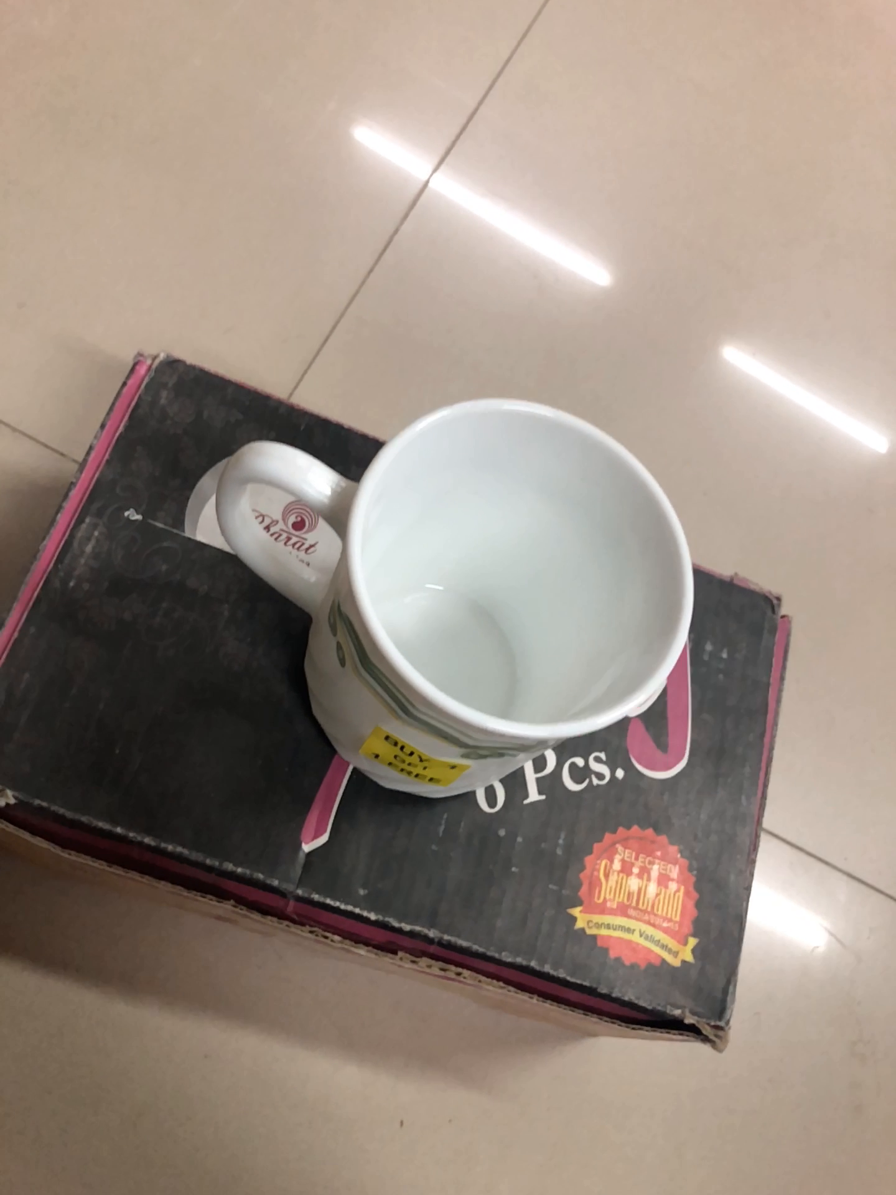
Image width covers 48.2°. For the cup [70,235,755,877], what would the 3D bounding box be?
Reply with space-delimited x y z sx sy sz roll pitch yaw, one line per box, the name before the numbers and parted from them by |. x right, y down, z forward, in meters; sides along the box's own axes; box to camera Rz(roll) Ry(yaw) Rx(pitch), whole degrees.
cup | -0.013 0.000 0.246 0.120 0.100 0.080 27 64 -5
